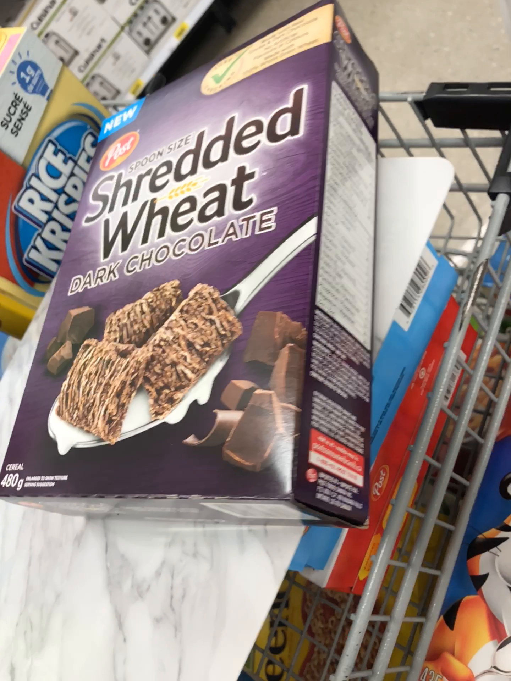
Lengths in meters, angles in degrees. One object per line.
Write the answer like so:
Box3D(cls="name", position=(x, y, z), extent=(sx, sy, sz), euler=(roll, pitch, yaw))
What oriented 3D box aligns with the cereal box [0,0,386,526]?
Box3D(cls="cereal box", position=(-0.027, -0.048, 0.346), extent=(0.191, 0.070, 0.290), euler=(-9, 62, 32))
